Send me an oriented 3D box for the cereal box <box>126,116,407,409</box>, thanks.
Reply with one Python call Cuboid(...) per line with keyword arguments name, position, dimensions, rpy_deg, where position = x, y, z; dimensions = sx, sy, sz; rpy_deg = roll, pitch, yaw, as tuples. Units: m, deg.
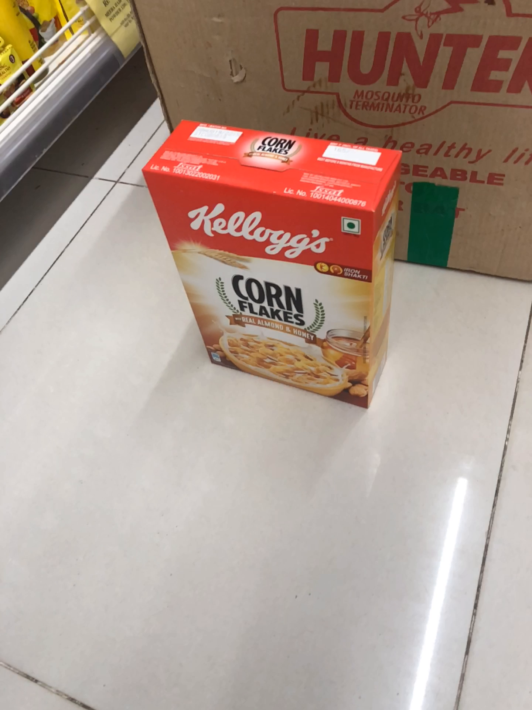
Cuboid(name="cereal box", position=(0.014, -0.072, 0.544), dimensions=(0.200, 0.259, 0.070), rpy_deg=(15, 59, 19))
